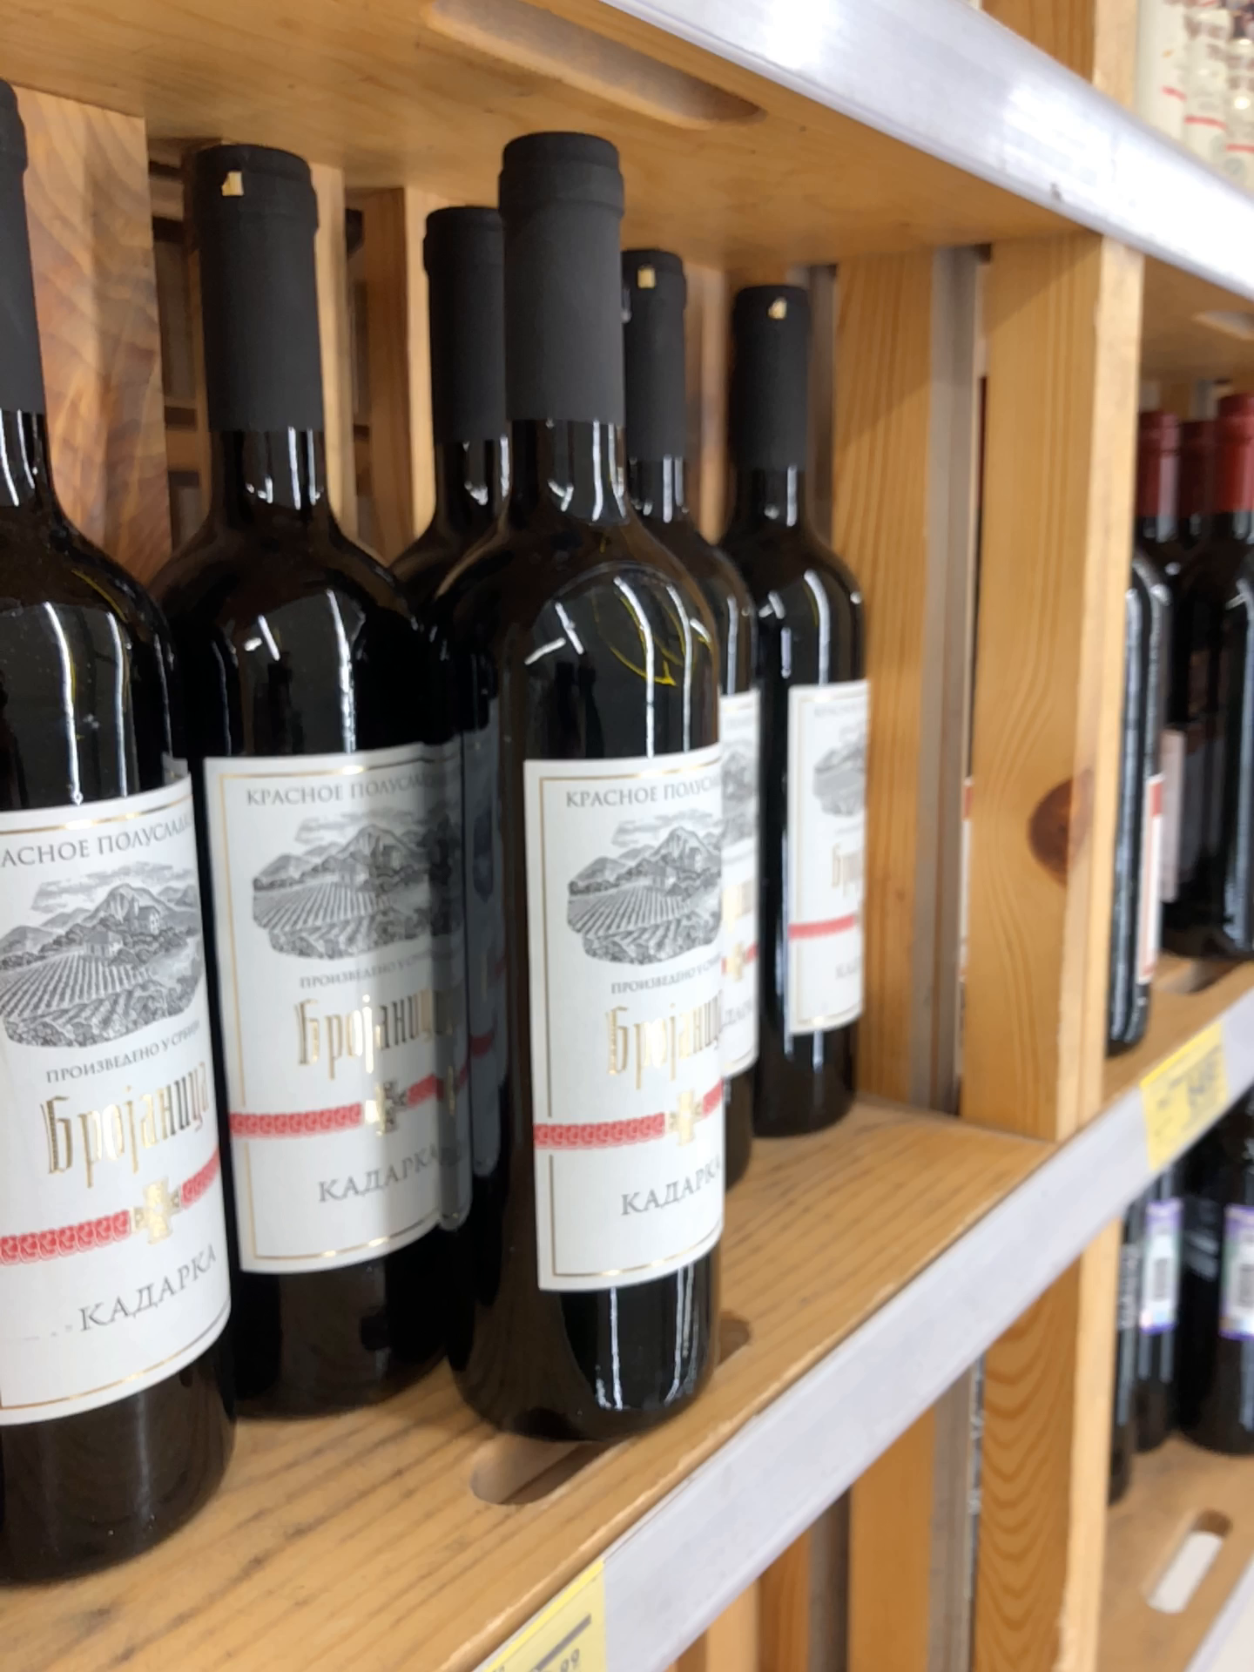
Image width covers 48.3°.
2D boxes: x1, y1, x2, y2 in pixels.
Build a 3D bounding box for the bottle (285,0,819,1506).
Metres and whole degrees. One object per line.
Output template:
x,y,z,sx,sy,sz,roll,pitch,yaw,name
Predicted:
-0.013,-0.016,0.329,0.080,0.080,0.309,-15,109,-50,bottle
